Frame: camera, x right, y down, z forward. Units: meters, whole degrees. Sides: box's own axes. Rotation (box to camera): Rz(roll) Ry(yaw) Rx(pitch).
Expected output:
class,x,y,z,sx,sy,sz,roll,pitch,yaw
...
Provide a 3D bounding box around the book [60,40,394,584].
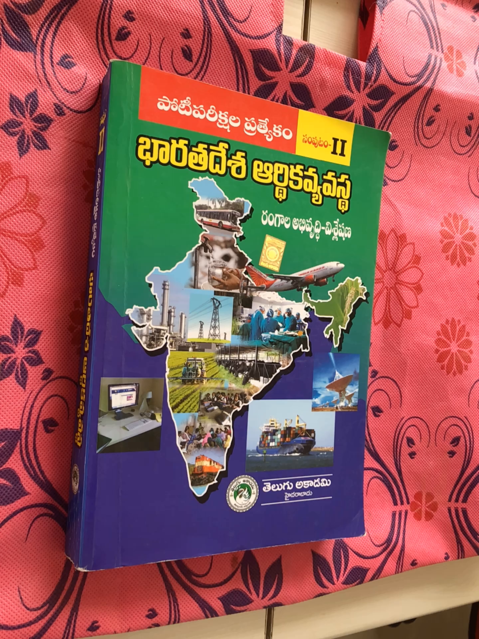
class,x,y,z,sx,sy,sz,roll,pitch,yaw
book,0.000,0.001,0.333,0.190,0.040,0.280,4,89,-26
